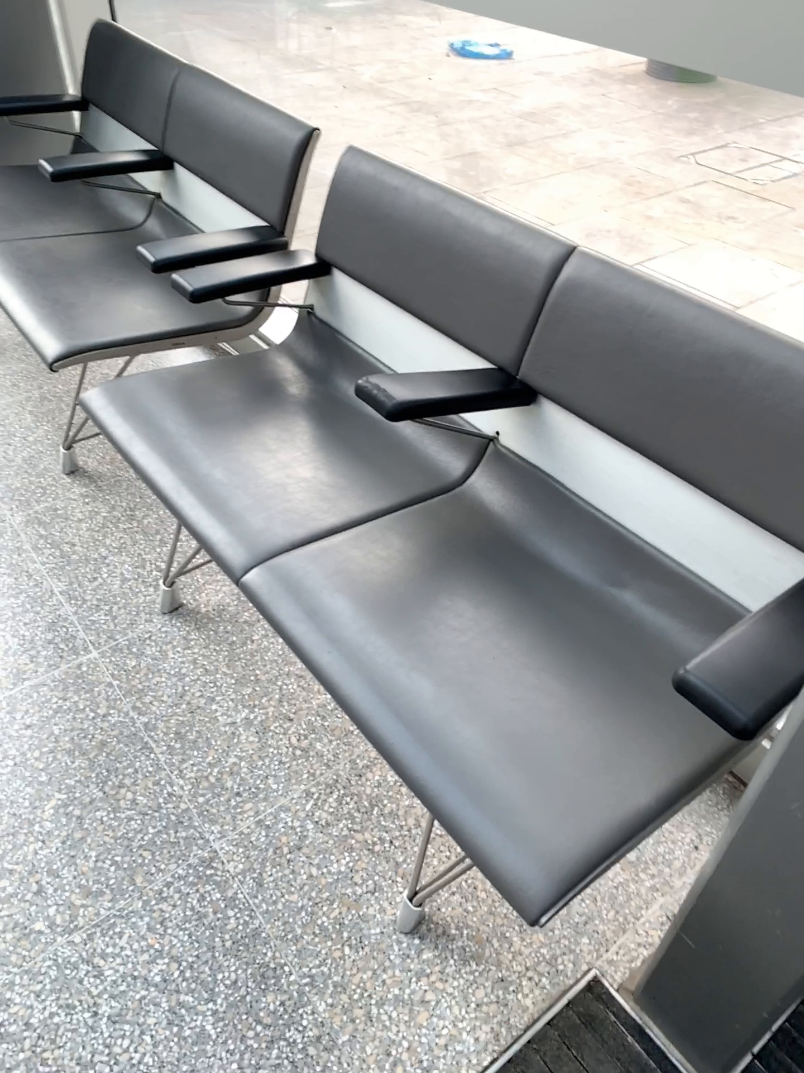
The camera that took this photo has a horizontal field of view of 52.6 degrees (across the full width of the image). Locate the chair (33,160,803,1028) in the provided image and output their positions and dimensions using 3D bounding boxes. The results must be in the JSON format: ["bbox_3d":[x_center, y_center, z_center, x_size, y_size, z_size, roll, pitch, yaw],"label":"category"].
[{"bbox_3d":[0.051,-0.065,1.457,0.823,0.713,1.208,-25,48,-28],"label":"chair"}]
